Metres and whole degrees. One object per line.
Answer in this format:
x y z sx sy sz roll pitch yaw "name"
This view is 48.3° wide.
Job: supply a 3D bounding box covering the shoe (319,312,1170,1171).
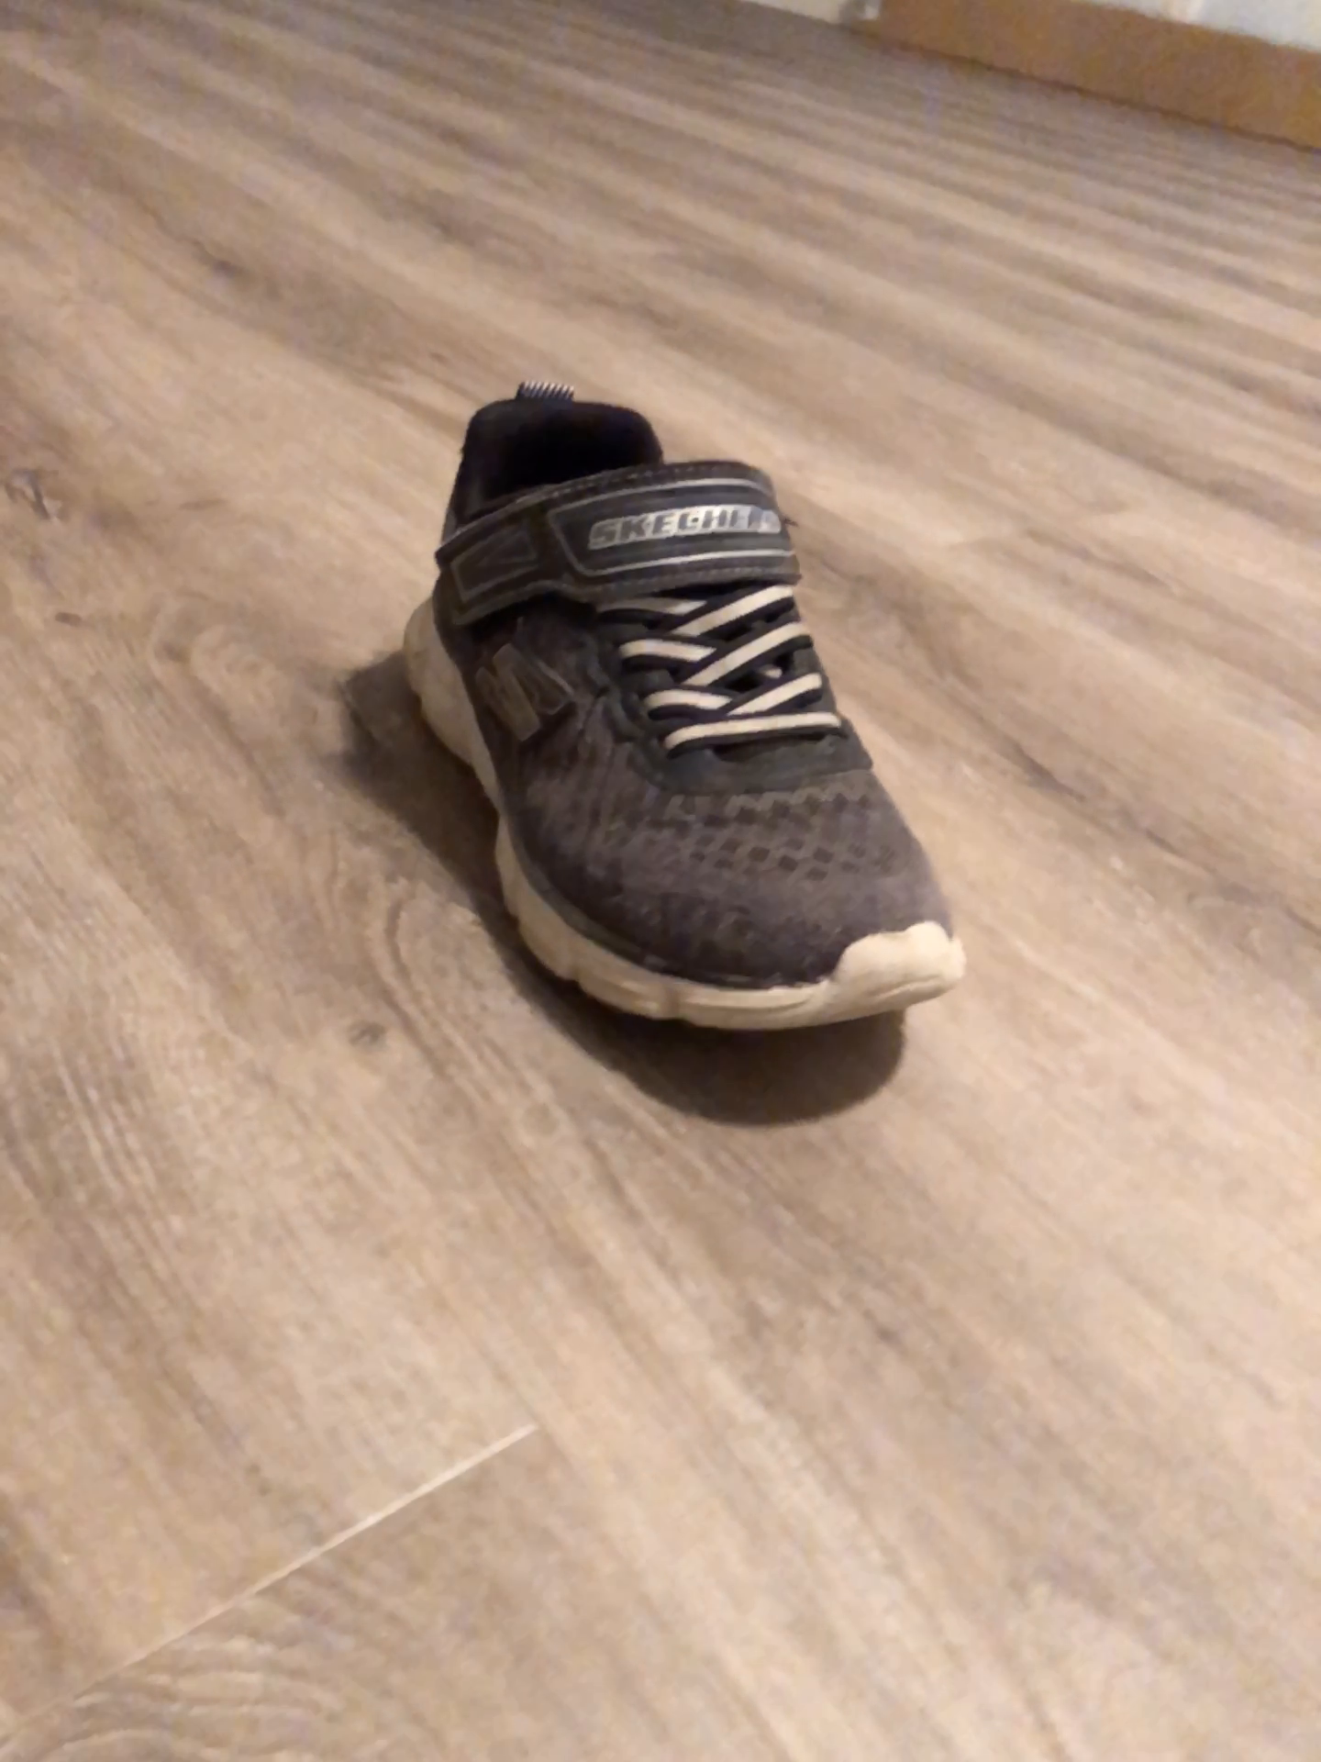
-0.005 -0.055 0.364 0.100 0.099 0.231 -7 37 -25 "shoe"
